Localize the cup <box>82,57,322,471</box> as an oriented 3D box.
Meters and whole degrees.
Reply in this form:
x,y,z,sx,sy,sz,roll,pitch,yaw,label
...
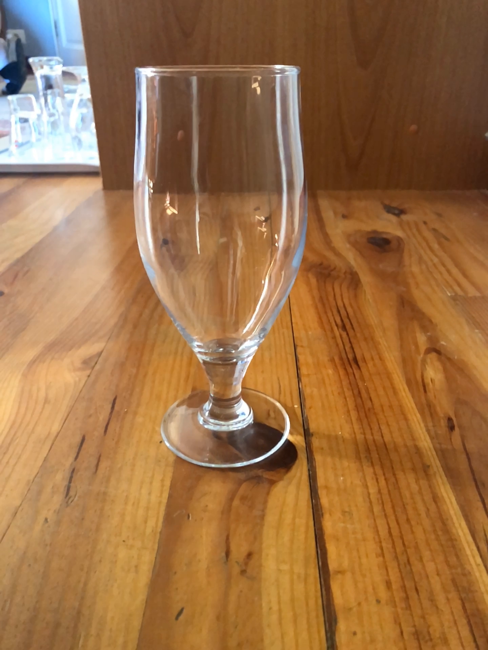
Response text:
x,y,z,sx,sy,sz,roll,pitch,yaw,label
-0.016,-0.028,0.266,0.083,0.183,0.082,0,28,0,cup
